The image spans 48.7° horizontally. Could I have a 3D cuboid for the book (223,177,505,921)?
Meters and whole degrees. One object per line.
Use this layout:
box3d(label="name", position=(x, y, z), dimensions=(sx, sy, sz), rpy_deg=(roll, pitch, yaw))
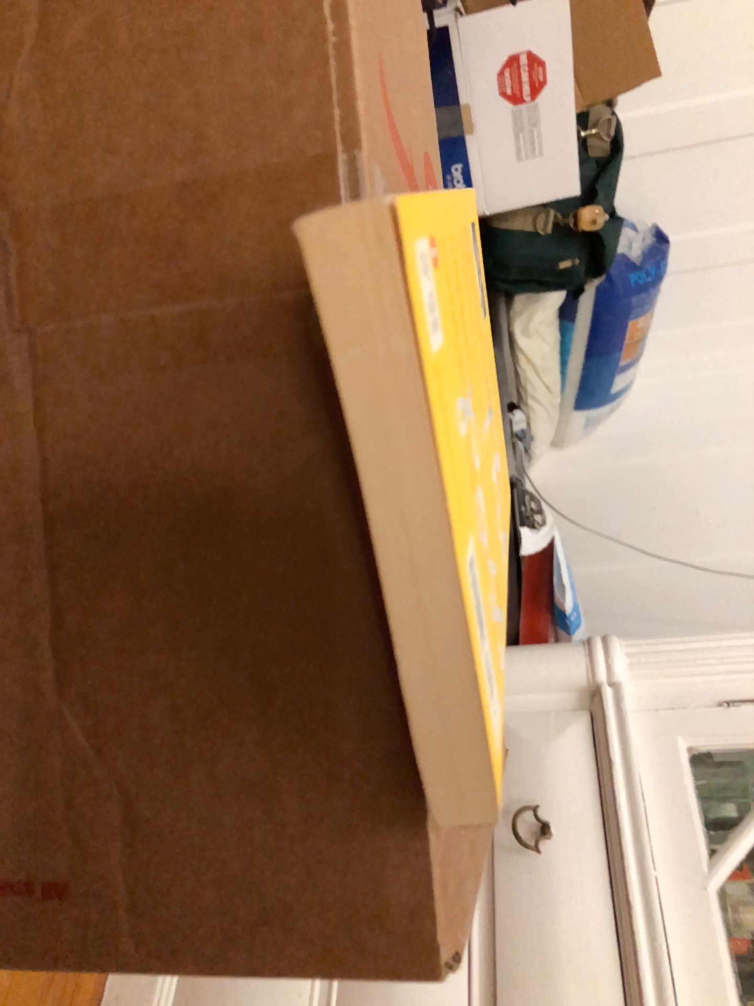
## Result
box3d(label="book", position=(0.016, -0.017, 0.252), dimensions=(0.211, 0.020, 0.150), rpy_deg=(-64, 146, -67))
